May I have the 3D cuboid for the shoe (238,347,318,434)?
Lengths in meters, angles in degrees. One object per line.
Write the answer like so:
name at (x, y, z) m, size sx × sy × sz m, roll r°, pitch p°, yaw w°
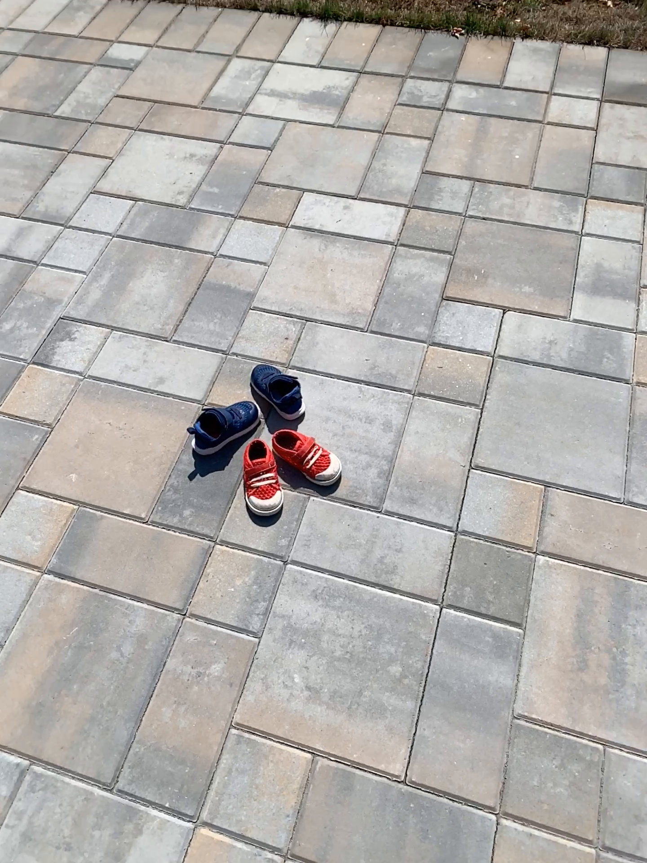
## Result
shoe at (-0.096, -0.088, 1.395) m, size 0.080 × 0.070 × 0.160 m, roll -36°, pitch 64°, yaw -18°

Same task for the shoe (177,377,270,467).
shoe at (-0.200, -0.020, 1.342) m, size 0.160 × 0.080 × 0.080 m, roll -36°, pitch 64°, yaw -18°

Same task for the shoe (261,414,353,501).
shoe at (-0.031, 0.050, 1.304) m, size 0.160 × 0.070 × 0.080 m, roll 31°, pitch 65°, yaw 20°

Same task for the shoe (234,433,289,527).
shoe at (-0.122, 0.094, 1.298) m, size 0.080 × 0.070 × 0.160 m, roll -10°, pitch 59°, yaw -3°
